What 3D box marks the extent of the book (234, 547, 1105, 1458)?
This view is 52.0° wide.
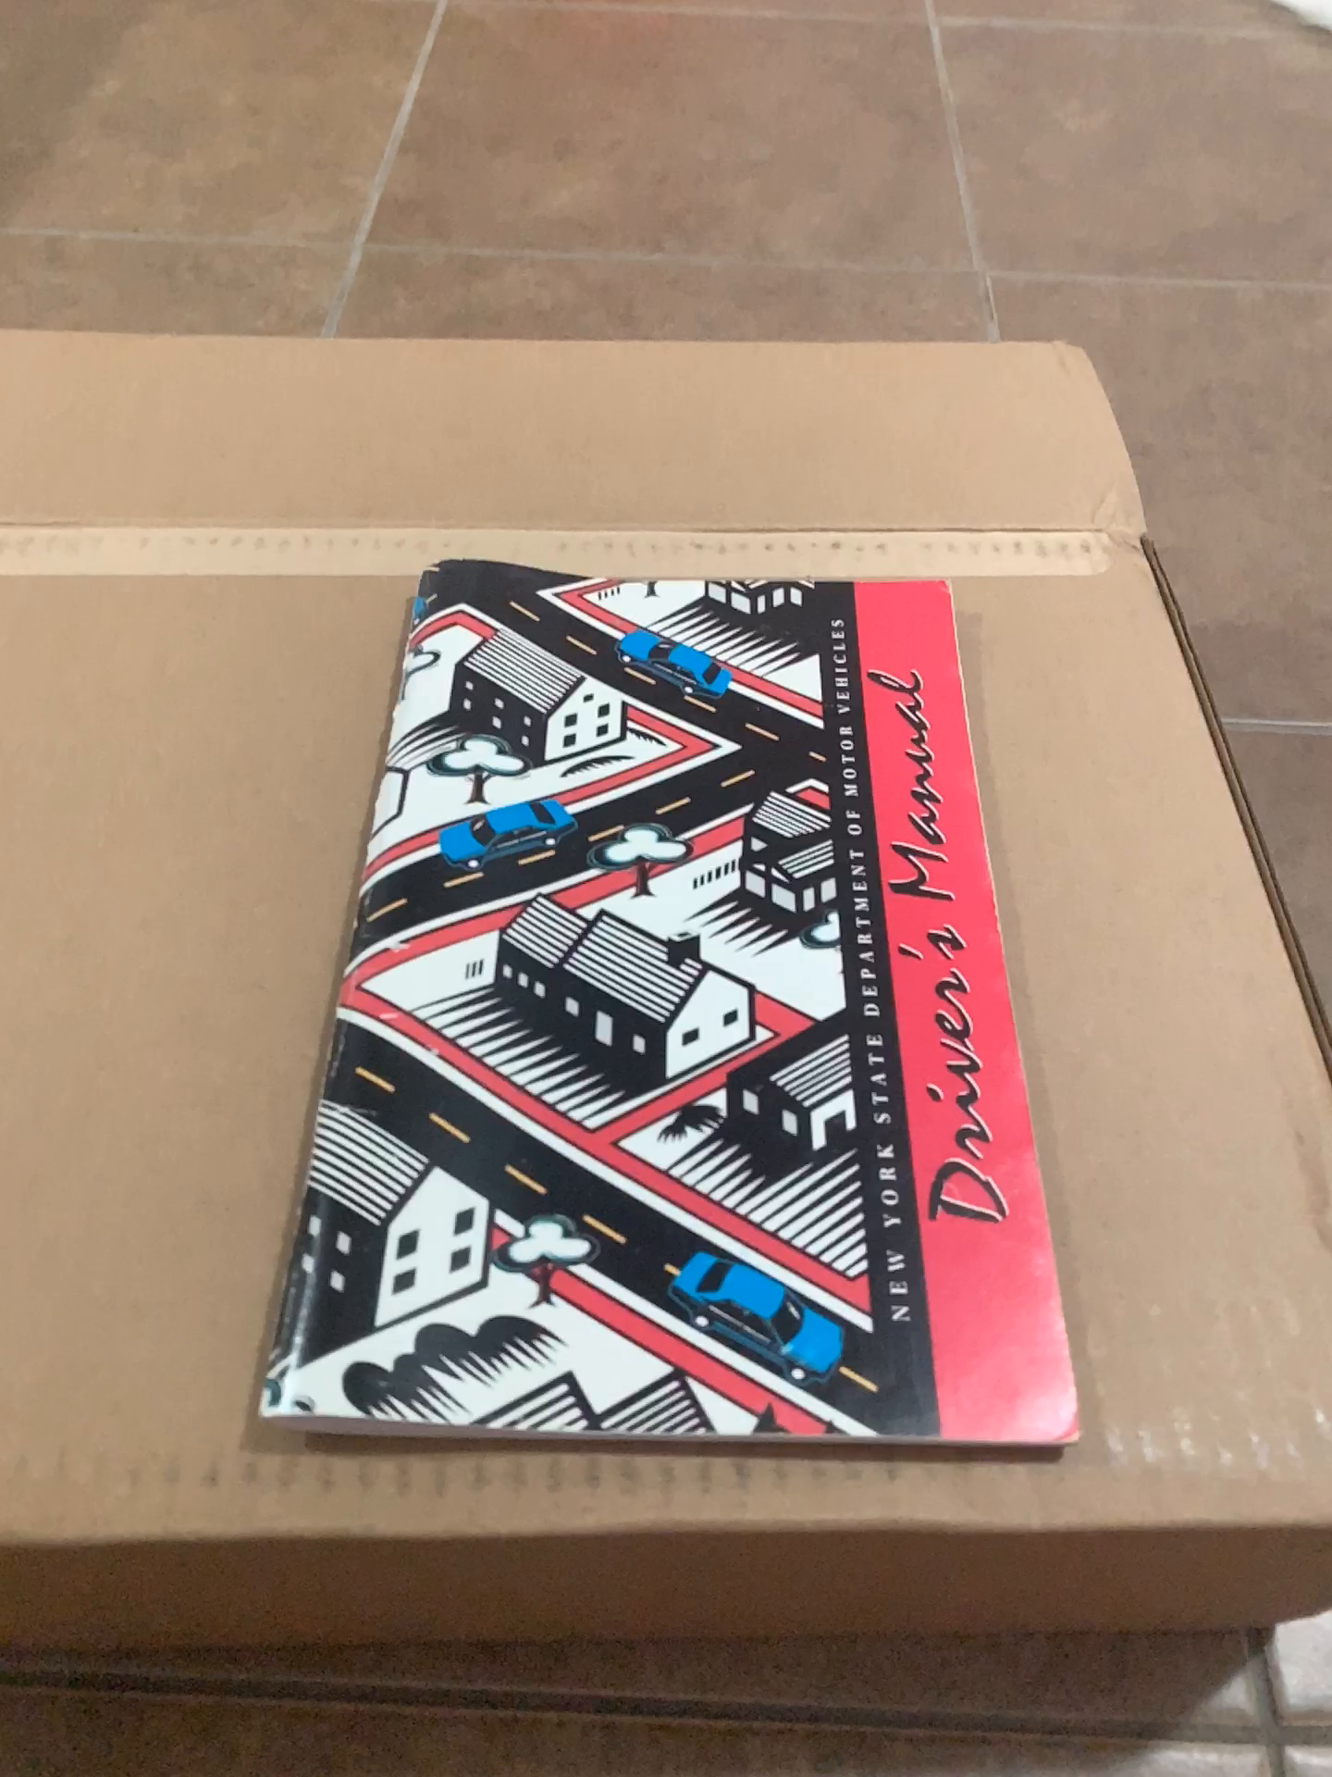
[{"bbox_3d":[0.003,0.004,0.278,0.133,0.013,0.207,2,52,0],"label":"book"}]
